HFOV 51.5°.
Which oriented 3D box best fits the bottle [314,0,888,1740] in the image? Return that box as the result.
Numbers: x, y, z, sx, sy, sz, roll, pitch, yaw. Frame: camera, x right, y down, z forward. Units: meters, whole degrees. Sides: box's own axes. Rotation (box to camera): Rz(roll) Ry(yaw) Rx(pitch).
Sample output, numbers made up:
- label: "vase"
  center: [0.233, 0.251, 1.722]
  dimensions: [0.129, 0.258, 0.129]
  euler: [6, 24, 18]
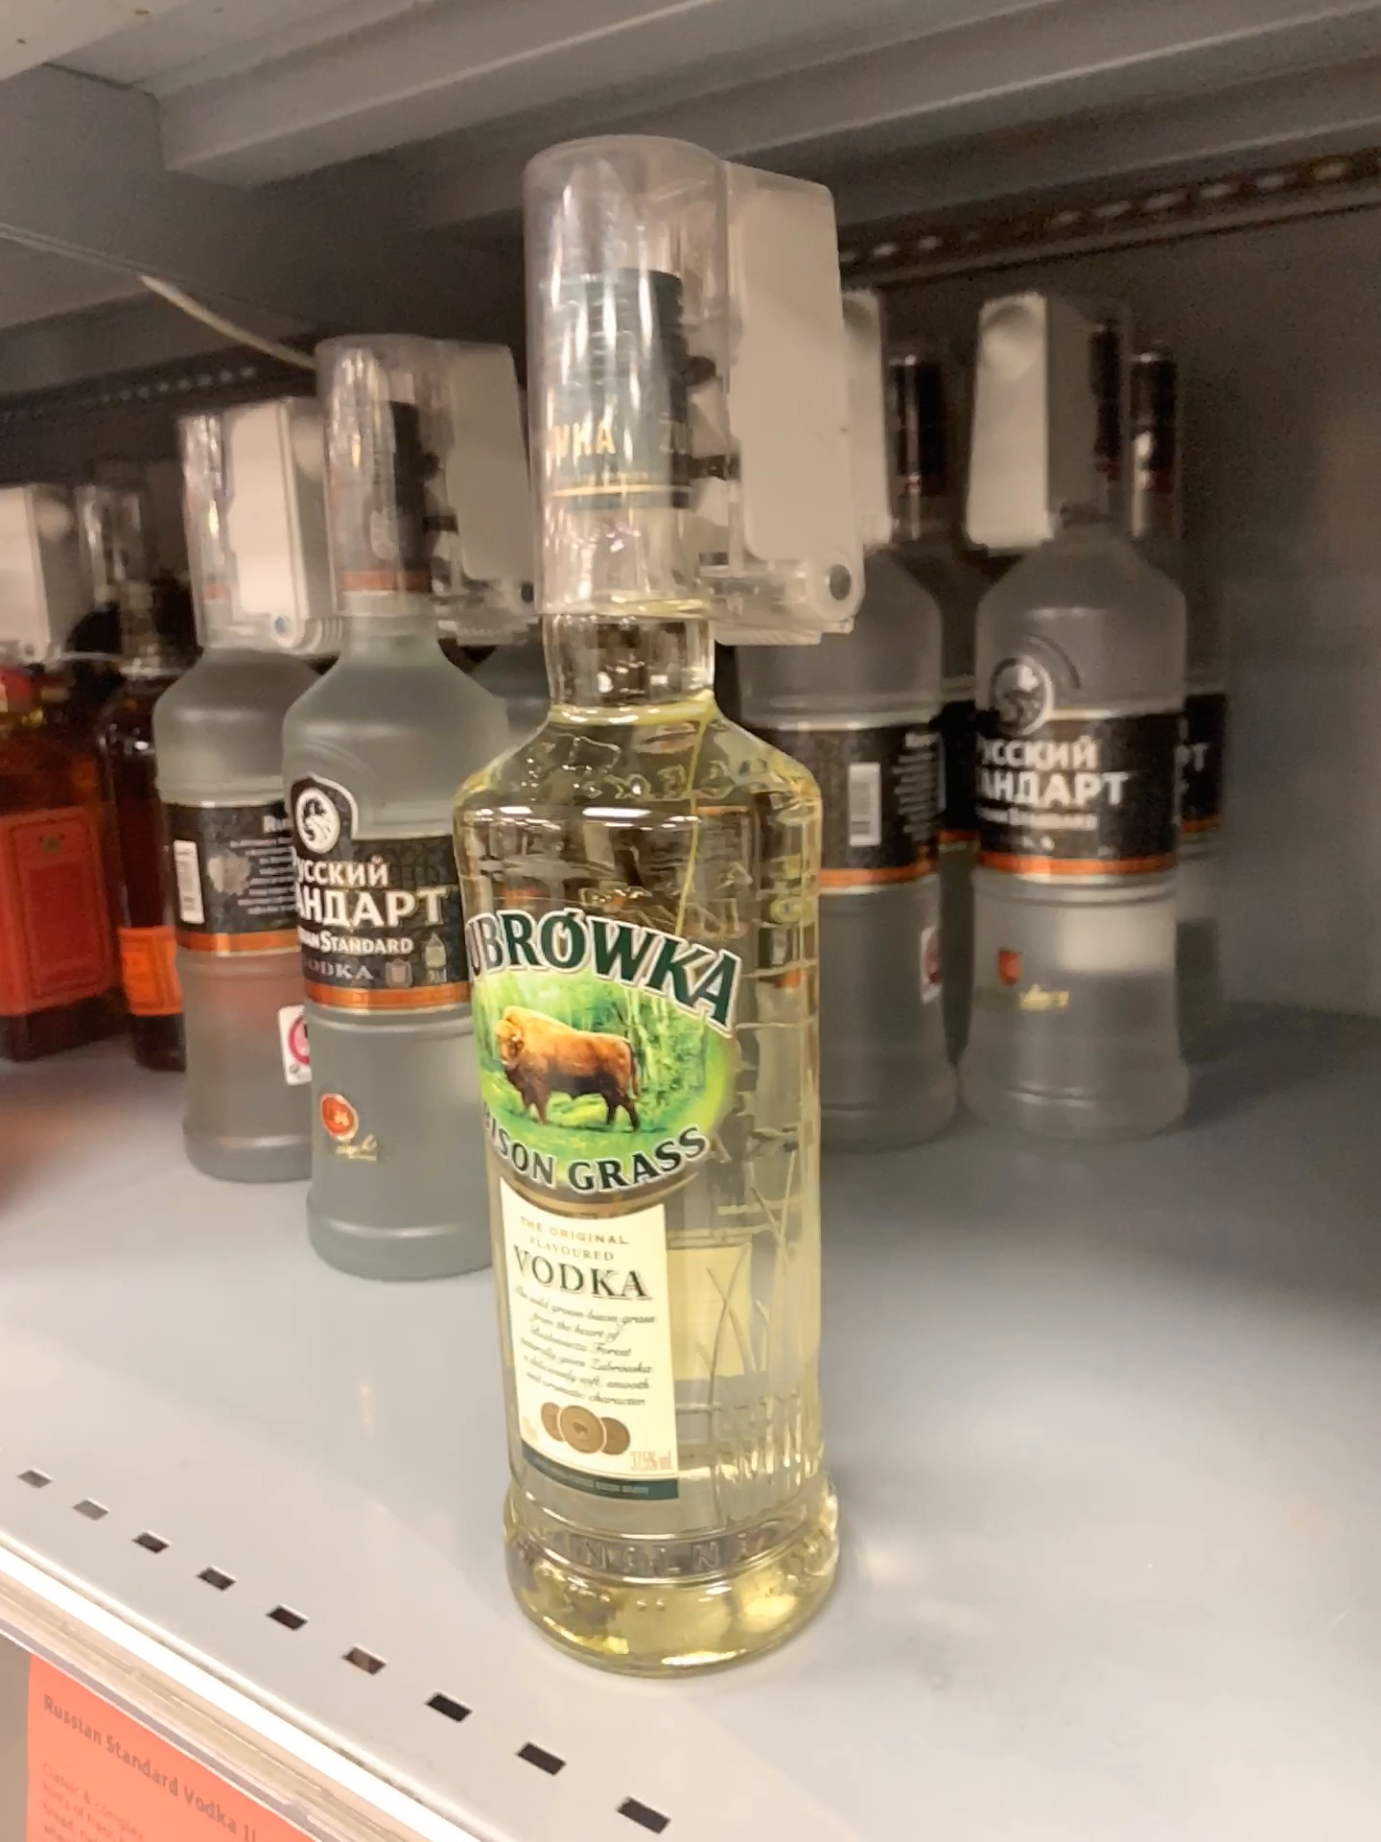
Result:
- label: "bottle"
  center: [-0.011, -0.002, 0.293]
  dimensions: [0.076, 0.303, 0.069]
  euler: [5, 13, 33]
